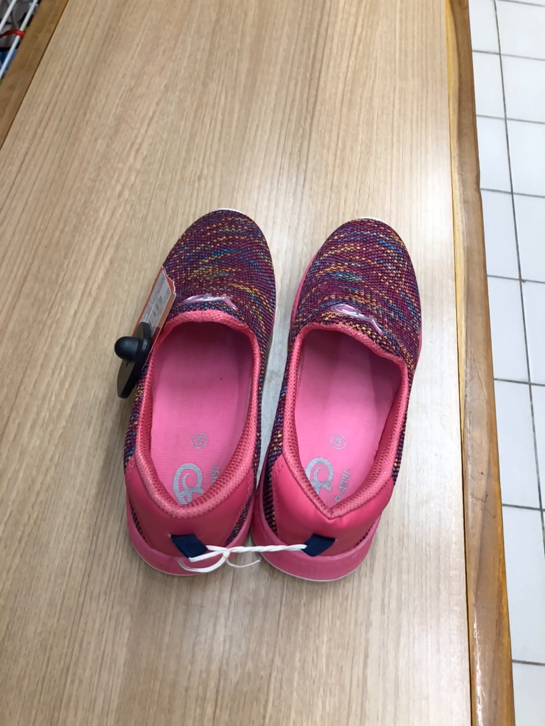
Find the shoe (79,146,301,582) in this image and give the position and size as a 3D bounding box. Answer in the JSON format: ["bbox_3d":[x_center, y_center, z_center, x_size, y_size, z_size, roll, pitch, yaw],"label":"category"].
[{"bbox_3d":[-0.038,-0.004,0.380,0.090,0.100,0.251,5,62,-1],"label":"shoe"}]

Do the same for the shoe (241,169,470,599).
[{"bbox_3d":[0.059,0.008,0.410,0.100,0.100,0.261,13,63,3],"label":"shoe"}]
